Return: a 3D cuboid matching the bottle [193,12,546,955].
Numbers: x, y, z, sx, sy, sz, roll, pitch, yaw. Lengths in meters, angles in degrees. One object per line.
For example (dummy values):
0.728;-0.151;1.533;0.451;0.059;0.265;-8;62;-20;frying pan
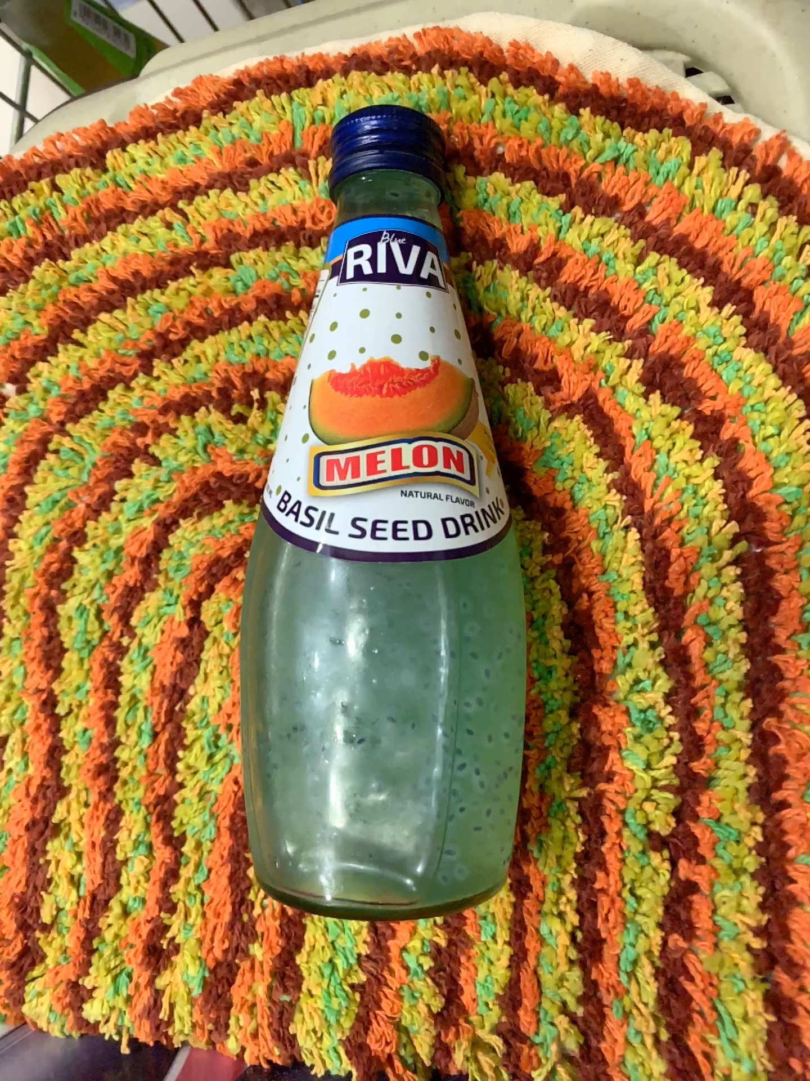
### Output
-0.005;-0.013;0.190;0.060;0.060;0.180;2;83;-1;bottle
